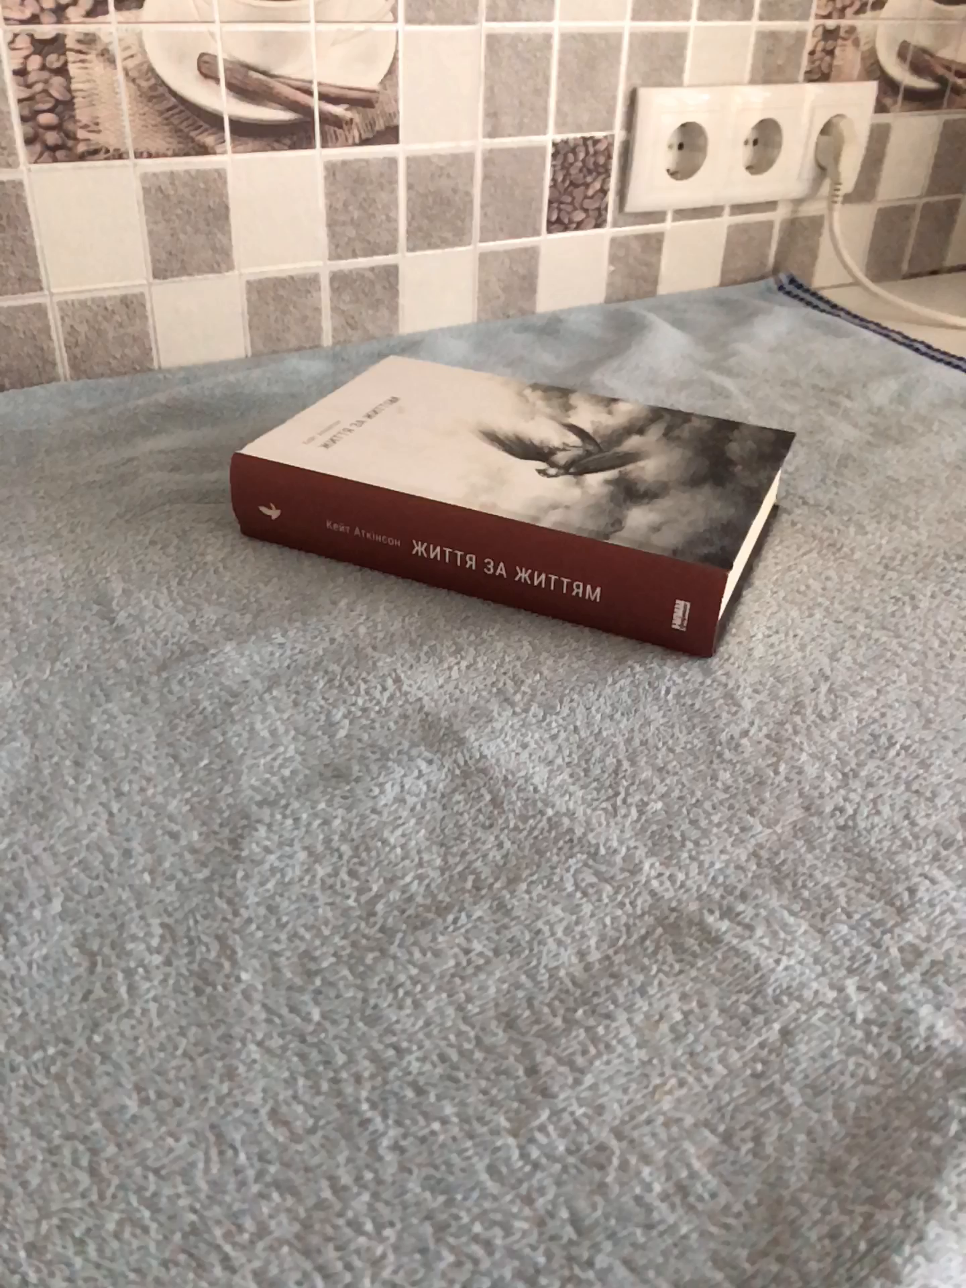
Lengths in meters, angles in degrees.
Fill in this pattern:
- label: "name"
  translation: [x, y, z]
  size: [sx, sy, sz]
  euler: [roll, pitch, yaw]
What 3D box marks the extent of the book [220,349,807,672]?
- label: "book"
  translation: [0.020, -0.073, 0.483]
  size: [0.220, 0.040, 0.156]
  euler: [16, 36, 17]
